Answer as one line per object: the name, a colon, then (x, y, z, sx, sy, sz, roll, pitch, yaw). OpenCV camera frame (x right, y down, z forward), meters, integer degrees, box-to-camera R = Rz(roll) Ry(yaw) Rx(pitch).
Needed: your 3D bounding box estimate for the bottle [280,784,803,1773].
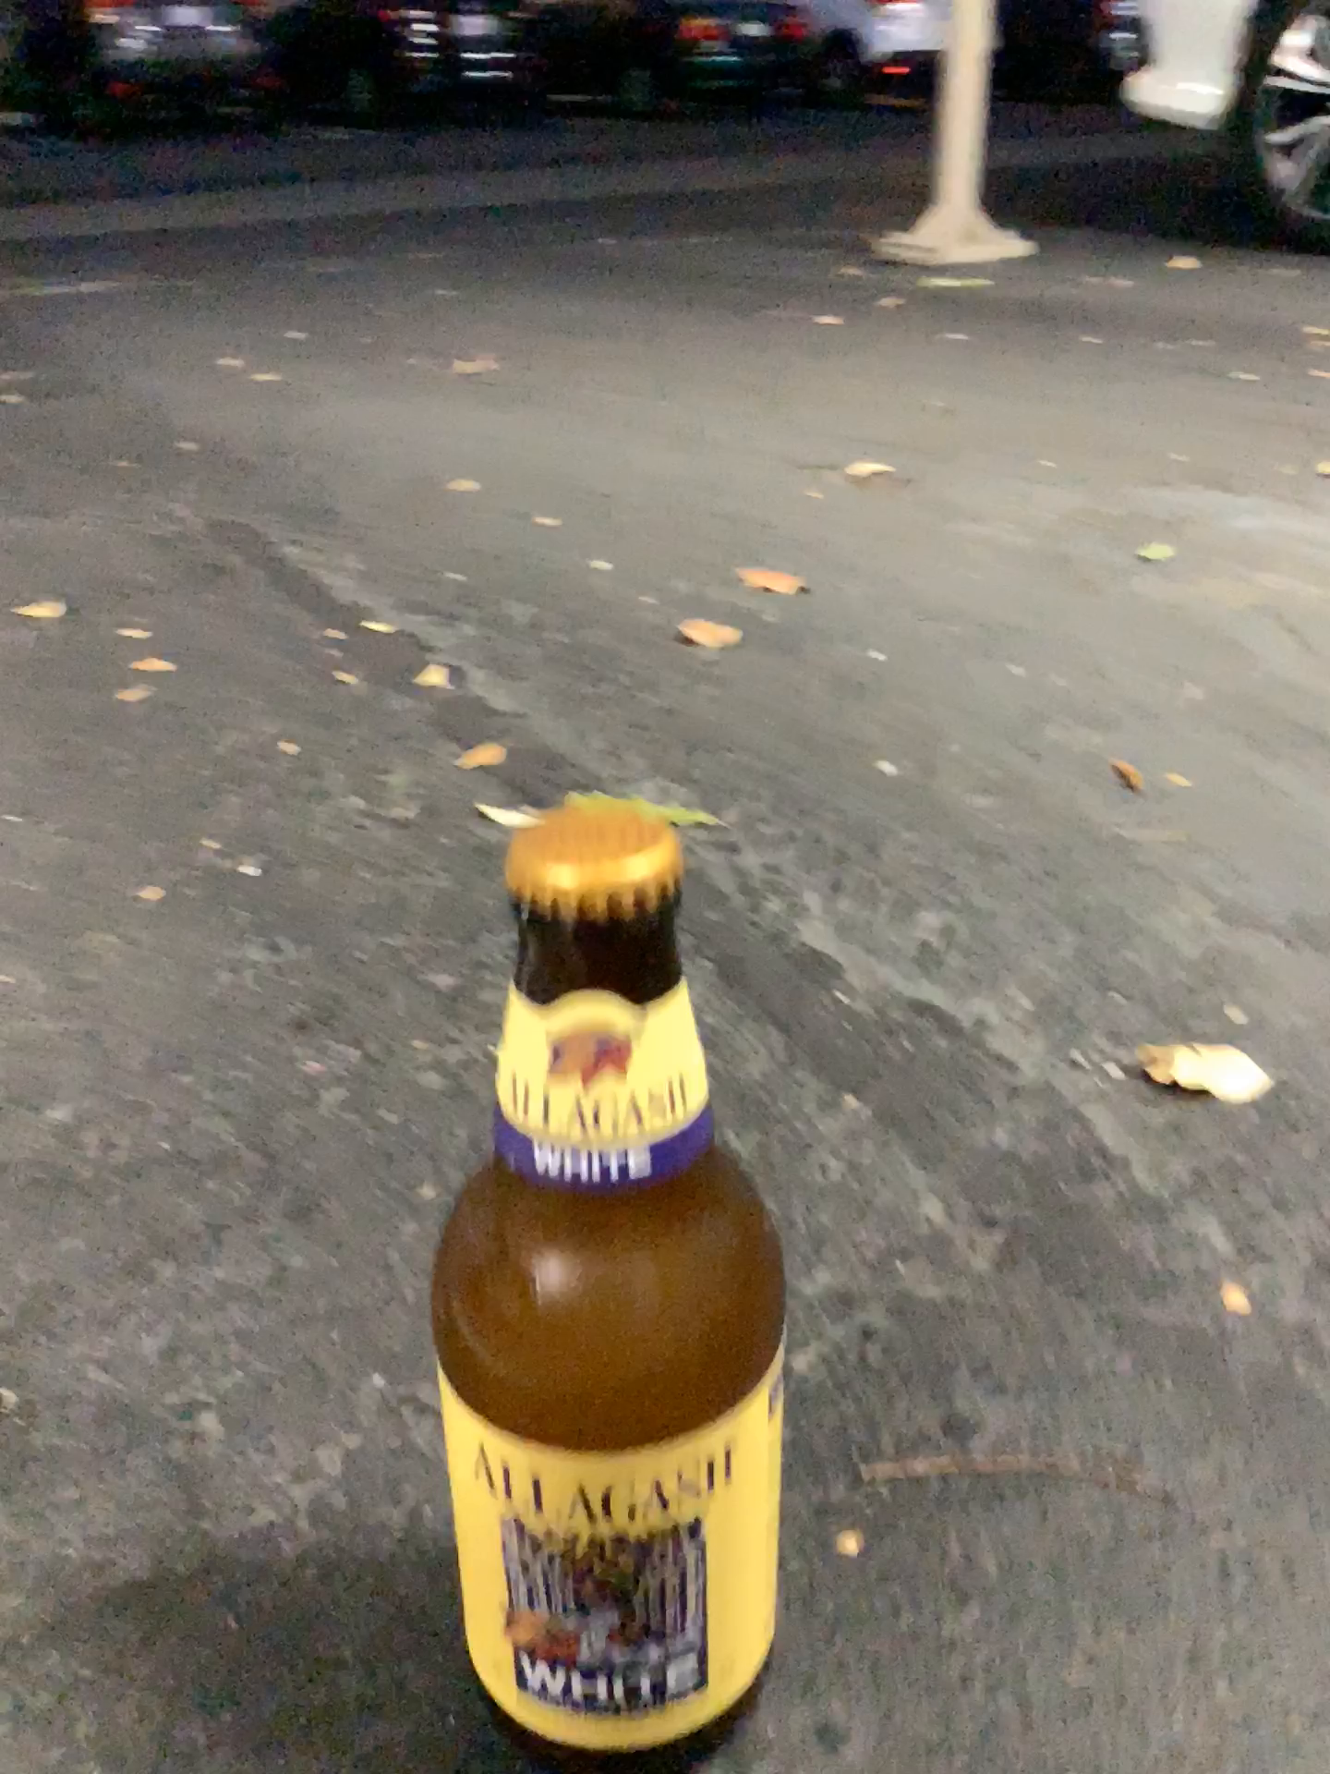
bottle: (-0.015, 0.082, 0.274, 0.070, 0.190, 0.070, -1, 29, 0)
